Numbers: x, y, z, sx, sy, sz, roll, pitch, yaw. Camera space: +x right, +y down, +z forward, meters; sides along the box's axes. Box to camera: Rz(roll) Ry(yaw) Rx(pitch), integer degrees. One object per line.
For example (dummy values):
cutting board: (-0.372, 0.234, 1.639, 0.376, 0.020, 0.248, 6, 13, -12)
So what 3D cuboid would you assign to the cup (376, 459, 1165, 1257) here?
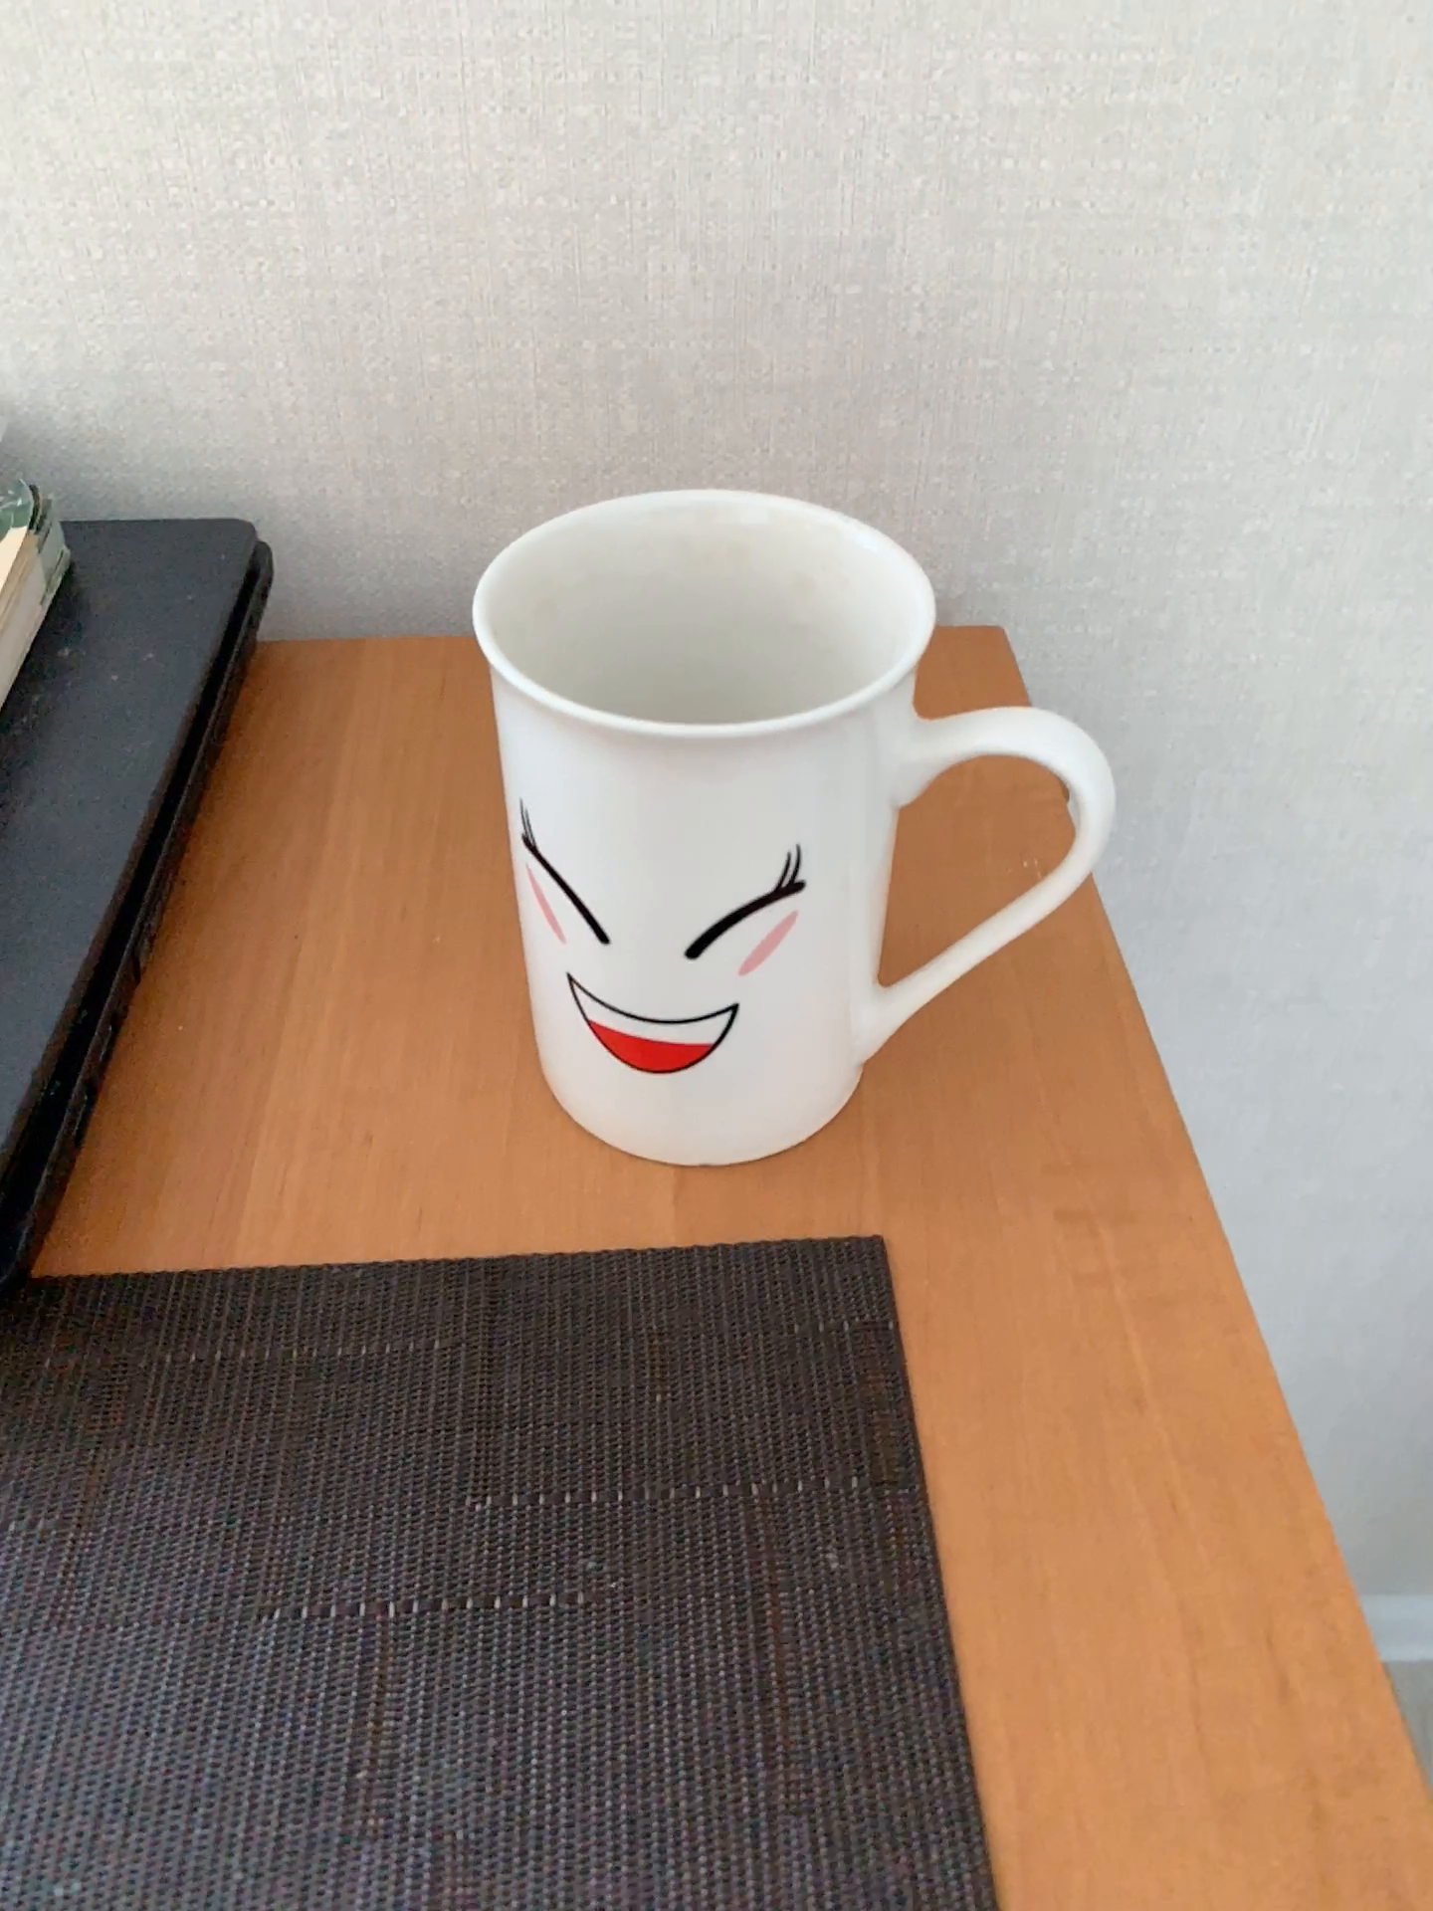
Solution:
cup: (0.012, -0.020, 0.263, 0.107, 0.095, 0.080, 12, 42, 11)
